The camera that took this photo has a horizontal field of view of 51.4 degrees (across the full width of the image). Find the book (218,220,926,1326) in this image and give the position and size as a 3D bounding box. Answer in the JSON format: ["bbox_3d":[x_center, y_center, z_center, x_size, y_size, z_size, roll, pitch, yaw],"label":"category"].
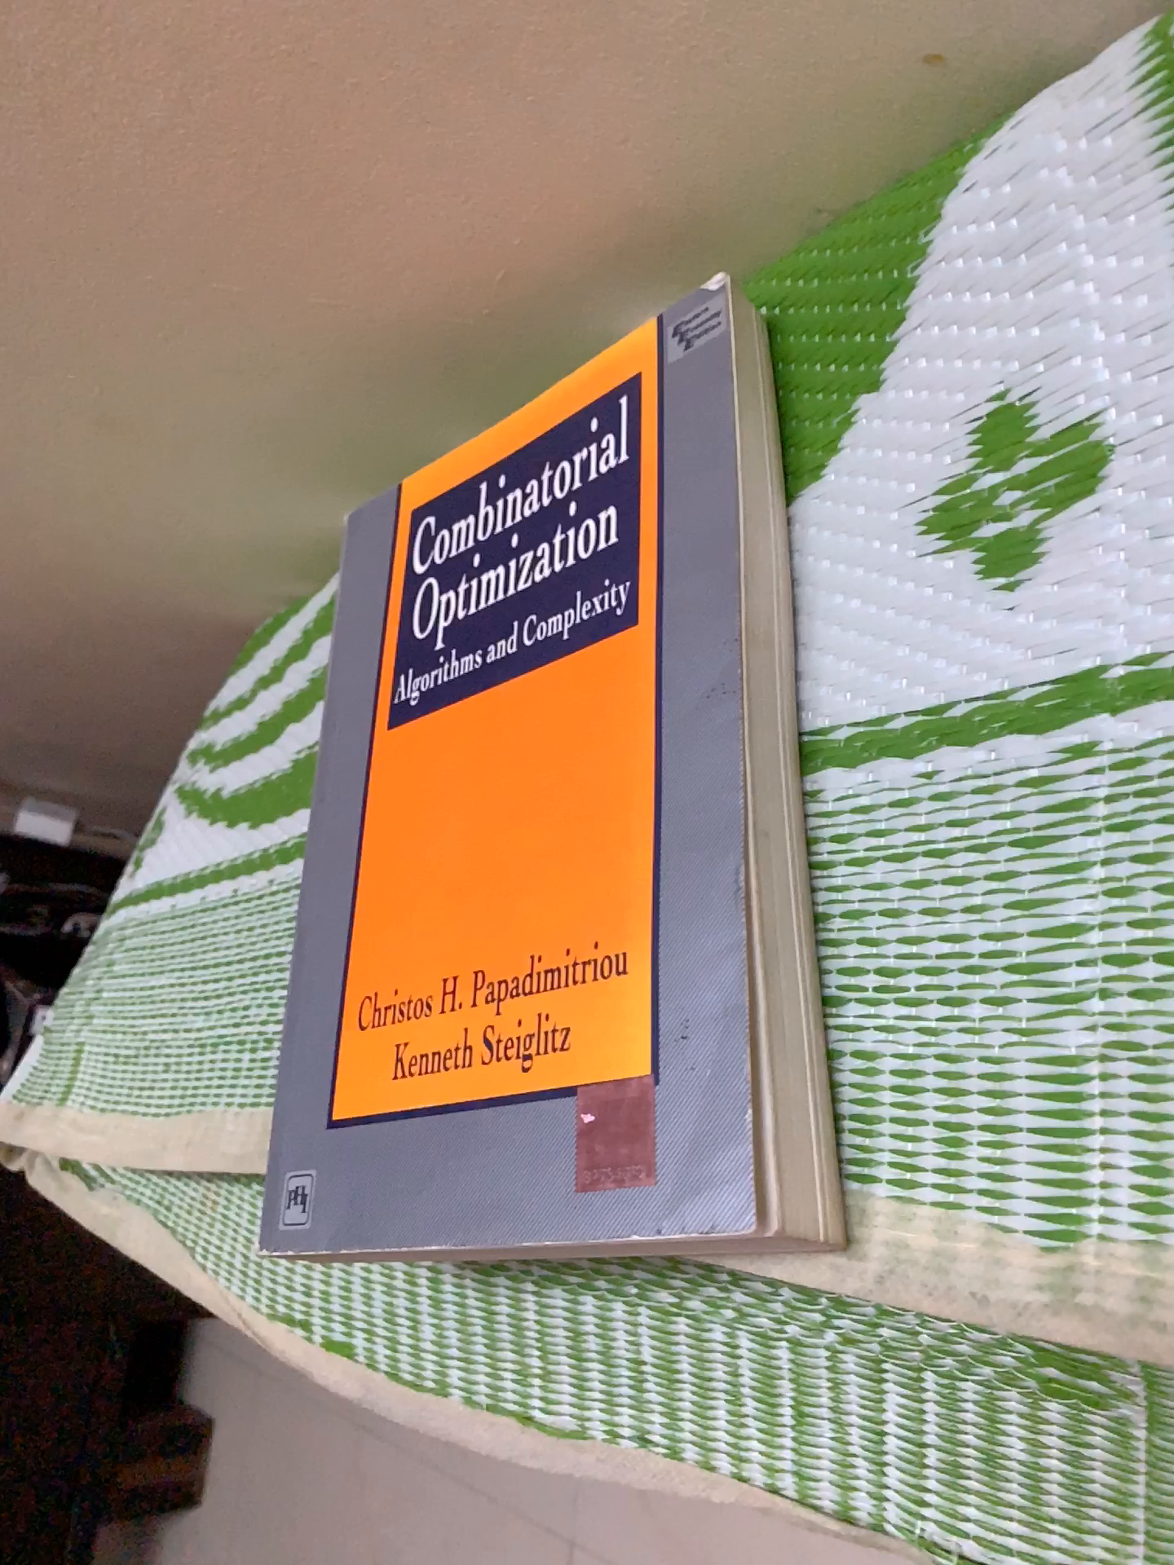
[{"bbox_3d":[-0.006,-0.003,0.330,0.171,0.040,0.271,-19,54,37],"label":"book"}]
